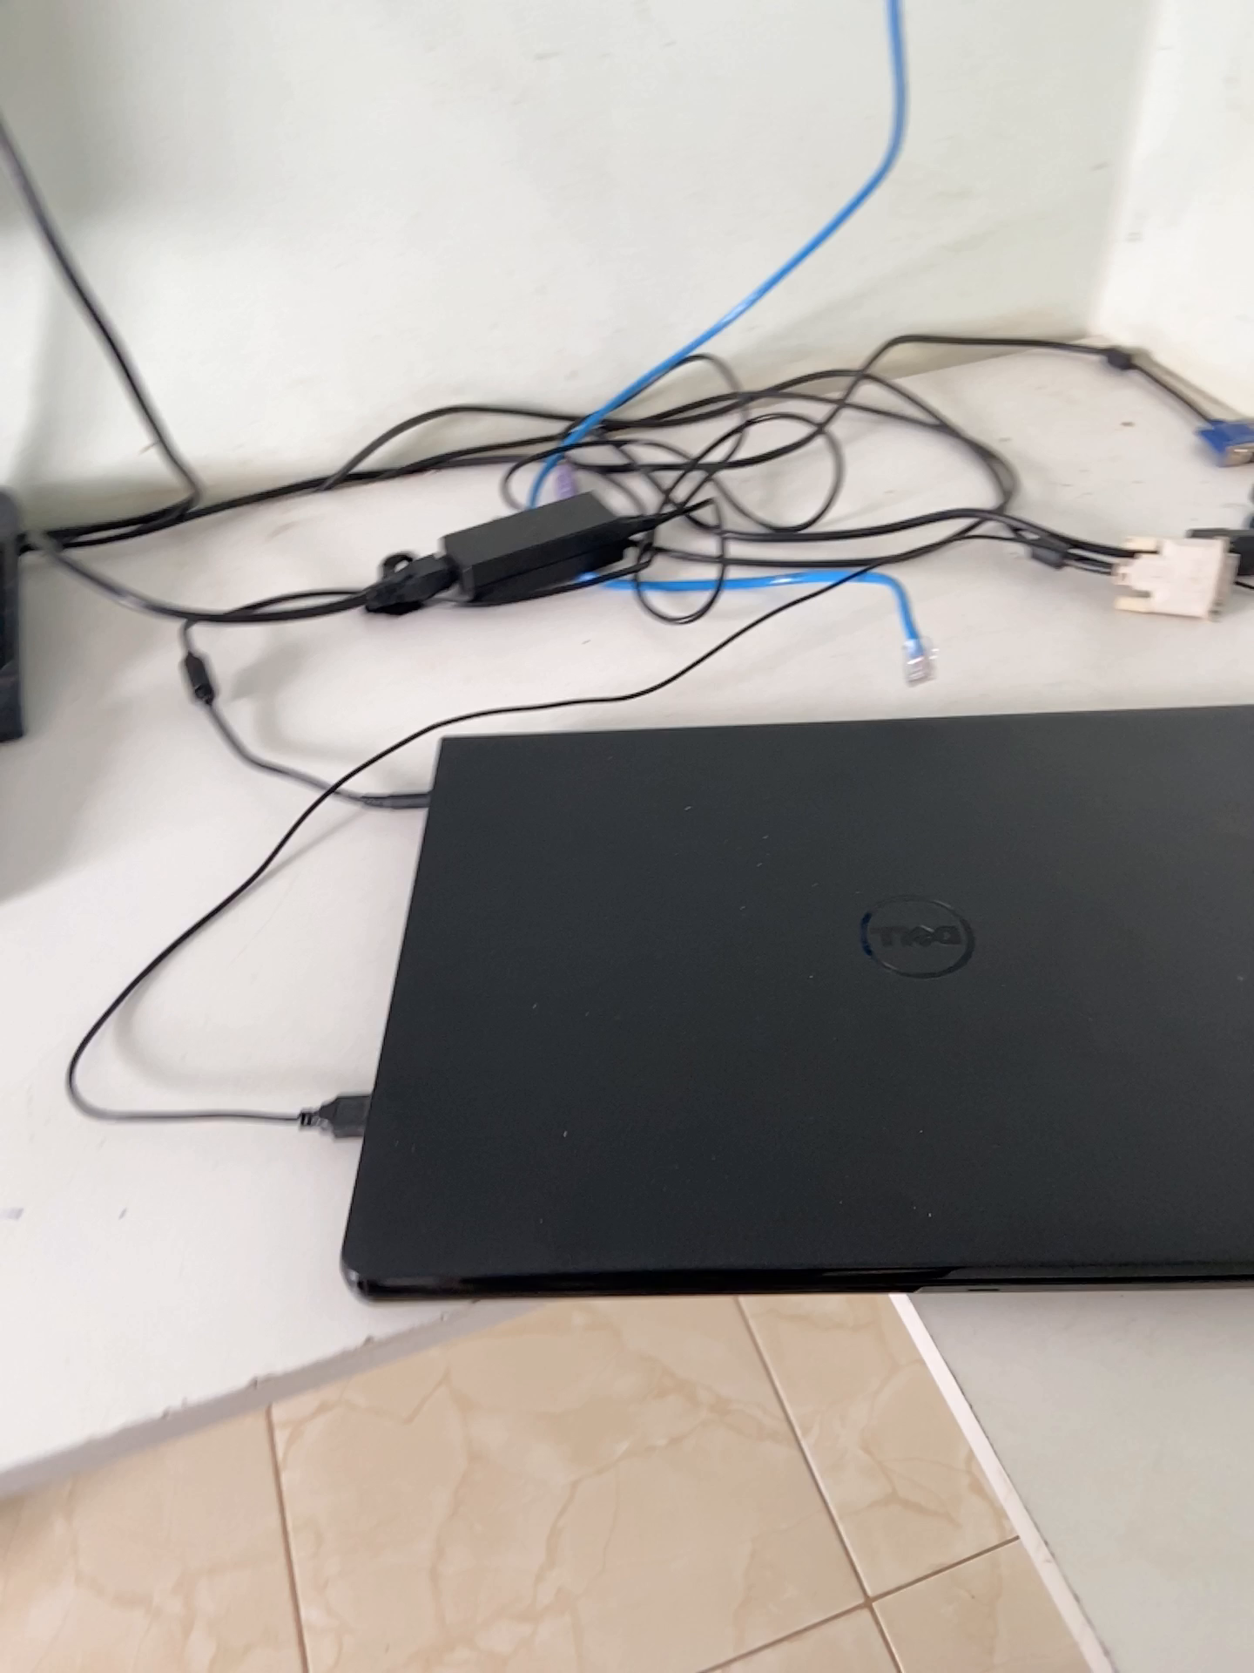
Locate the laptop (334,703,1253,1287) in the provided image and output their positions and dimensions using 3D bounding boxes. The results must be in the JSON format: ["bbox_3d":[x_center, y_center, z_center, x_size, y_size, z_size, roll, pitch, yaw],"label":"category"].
[{"bbox_3d":[0.105,0.036,0.467,0.375,0.003,0.261,-2,41,1],"label":"laptop"}]
